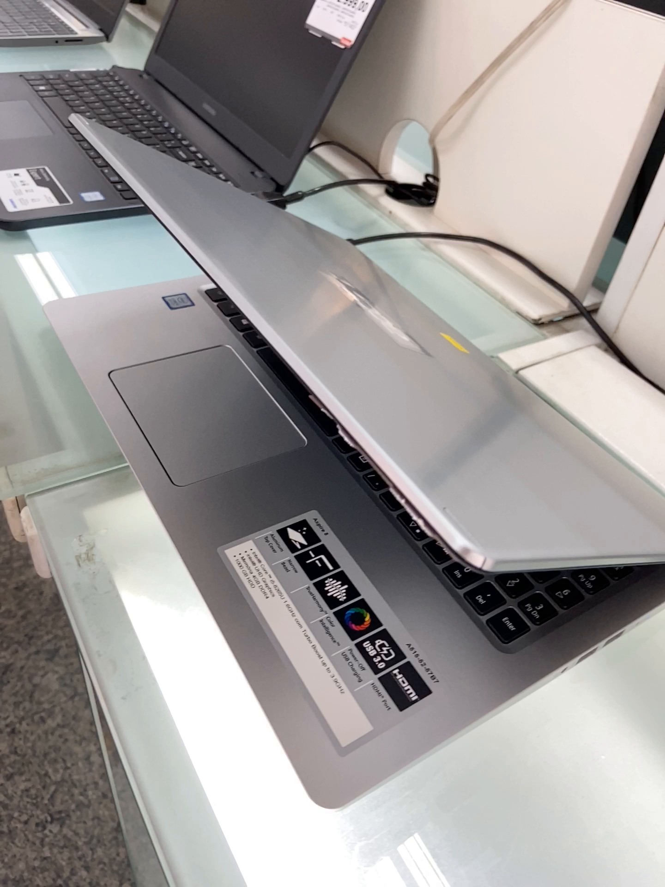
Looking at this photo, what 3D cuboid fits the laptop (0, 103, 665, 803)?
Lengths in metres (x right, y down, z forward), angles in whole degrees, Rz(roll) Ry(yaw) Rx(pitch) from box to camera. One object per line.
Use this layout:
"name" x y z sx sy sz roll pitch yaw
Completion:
"laptop" 0.008 -0.059 0.373 0.246 0.116 0.365 -19 48 -28
